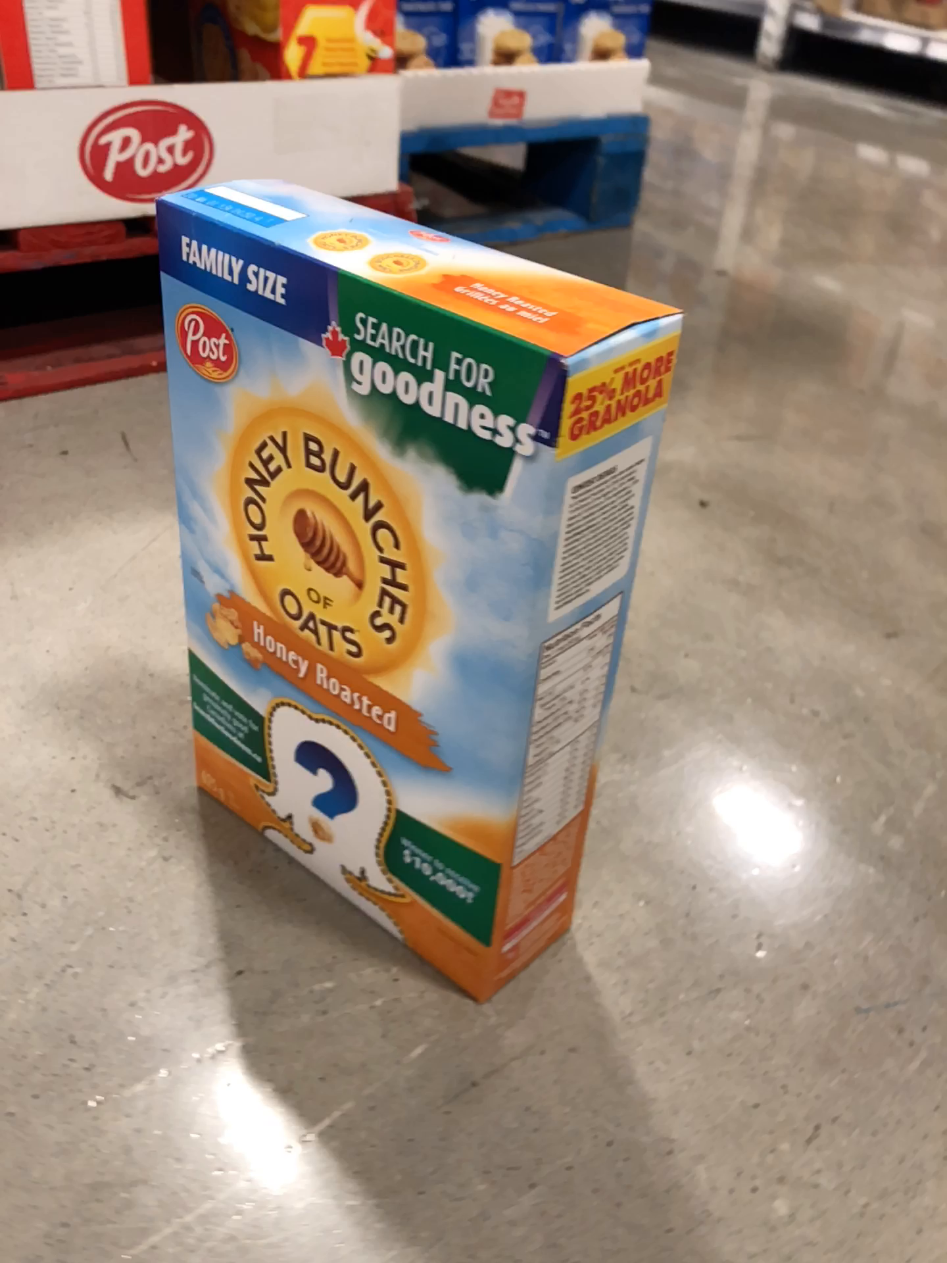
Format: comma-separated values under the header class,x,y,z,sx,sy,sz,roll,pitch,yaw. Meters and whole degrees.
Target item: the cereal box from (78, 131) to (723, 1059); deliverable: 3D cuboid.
class,x,y,z,sx,sy,sz,roll,pitch,yaw
cereal box,-0.043,-0.007,0.419,0.210,0.309,0.070,29,42,29
